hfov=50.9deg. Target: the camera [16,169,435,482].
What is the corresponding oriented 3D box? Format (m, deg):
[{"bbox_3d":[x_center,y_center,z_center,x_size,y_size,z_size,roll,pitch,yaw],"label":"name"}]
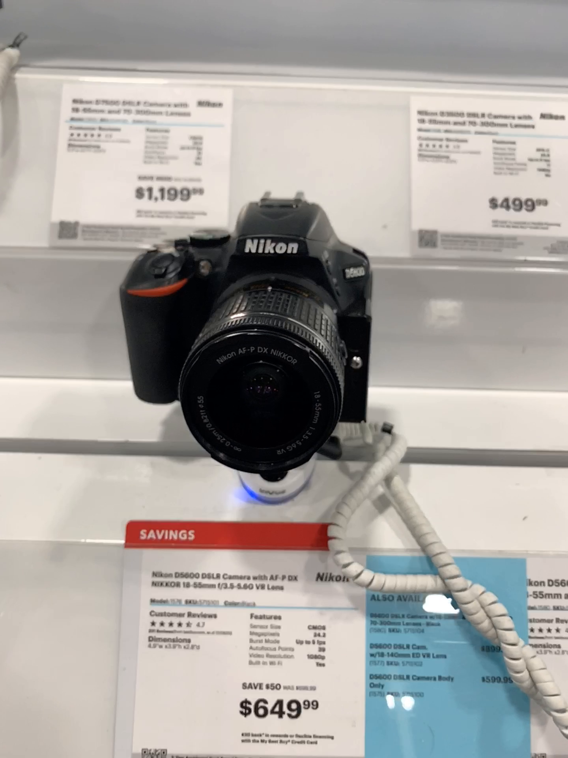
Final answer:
[{"bbox_3d":[-0.017,-0.032,0.259,0.130,0.090,0.121,3,28,2],"label":"camera"}]
